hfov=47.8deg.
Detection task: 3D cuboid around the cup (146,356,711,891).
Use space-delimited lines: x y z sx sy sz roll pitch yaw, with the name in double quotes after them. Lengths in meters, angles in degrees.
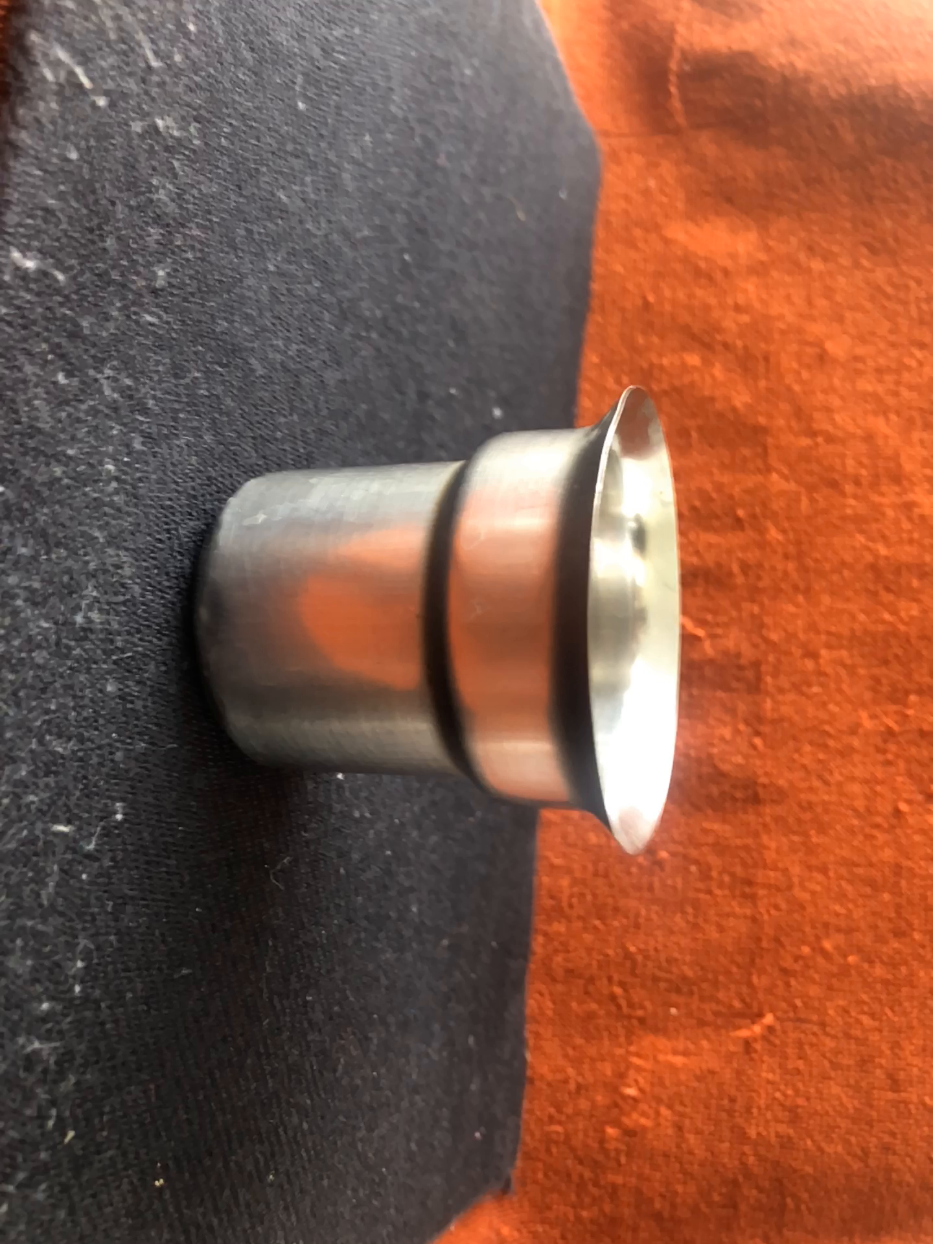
0.001 0.004 0.179 0.070 0.070 0.070 1 90 -71 "cup"
